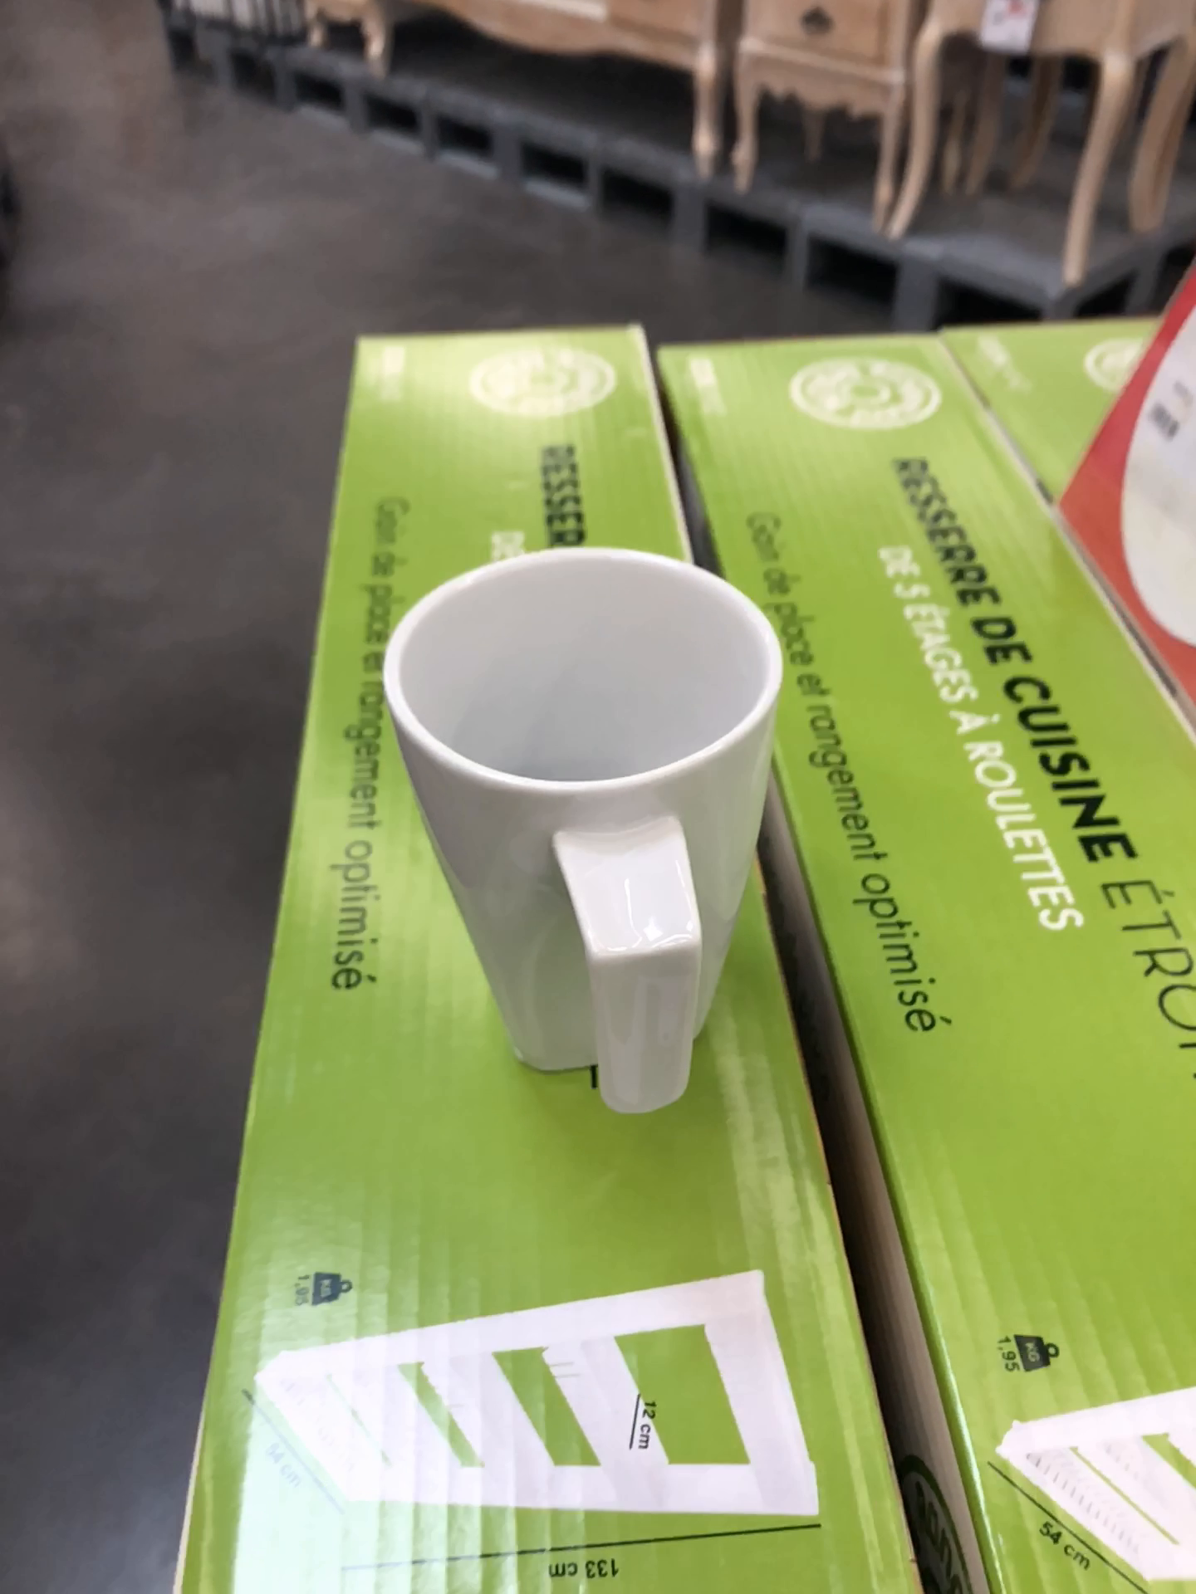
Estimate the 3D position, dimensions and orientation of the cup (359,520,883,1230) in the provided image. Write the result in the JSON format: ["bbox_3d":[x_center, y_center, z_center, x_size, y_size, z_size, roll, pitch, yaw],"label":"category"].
[{"bbox_3d":[-0.003,0.012,0.280,0.083,0.087,0.112,-6,43,-6],"label":"cup"}]
